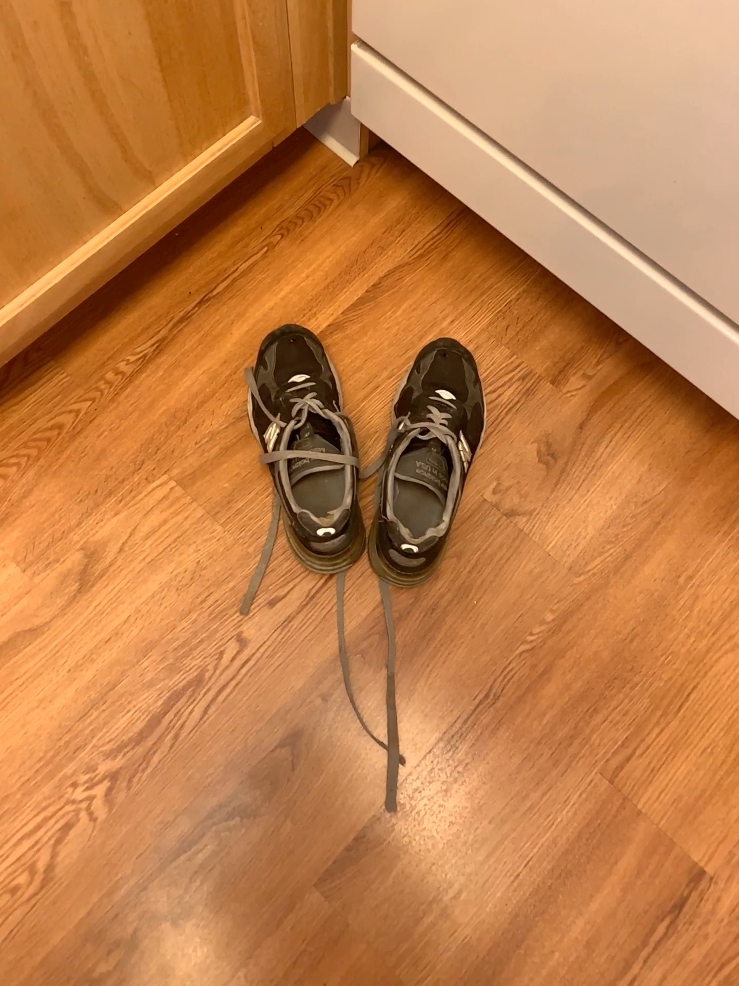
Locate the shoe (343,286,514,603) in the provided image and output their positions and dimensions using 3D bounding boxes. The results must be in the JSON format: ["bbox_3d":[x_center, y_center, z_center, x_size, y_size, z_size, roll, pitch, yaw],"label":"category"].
[{"bbox_3d":[0.062,-0.052,0.795,0.120,0.100,0.300,12,71,2],"label":"shoe"}]

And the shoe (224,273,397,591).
[{"bbox_3d":[-0.064,-0.065,0.787,0.120,0.100,0.300,-10,72,-5],"label":"shoe"}]
